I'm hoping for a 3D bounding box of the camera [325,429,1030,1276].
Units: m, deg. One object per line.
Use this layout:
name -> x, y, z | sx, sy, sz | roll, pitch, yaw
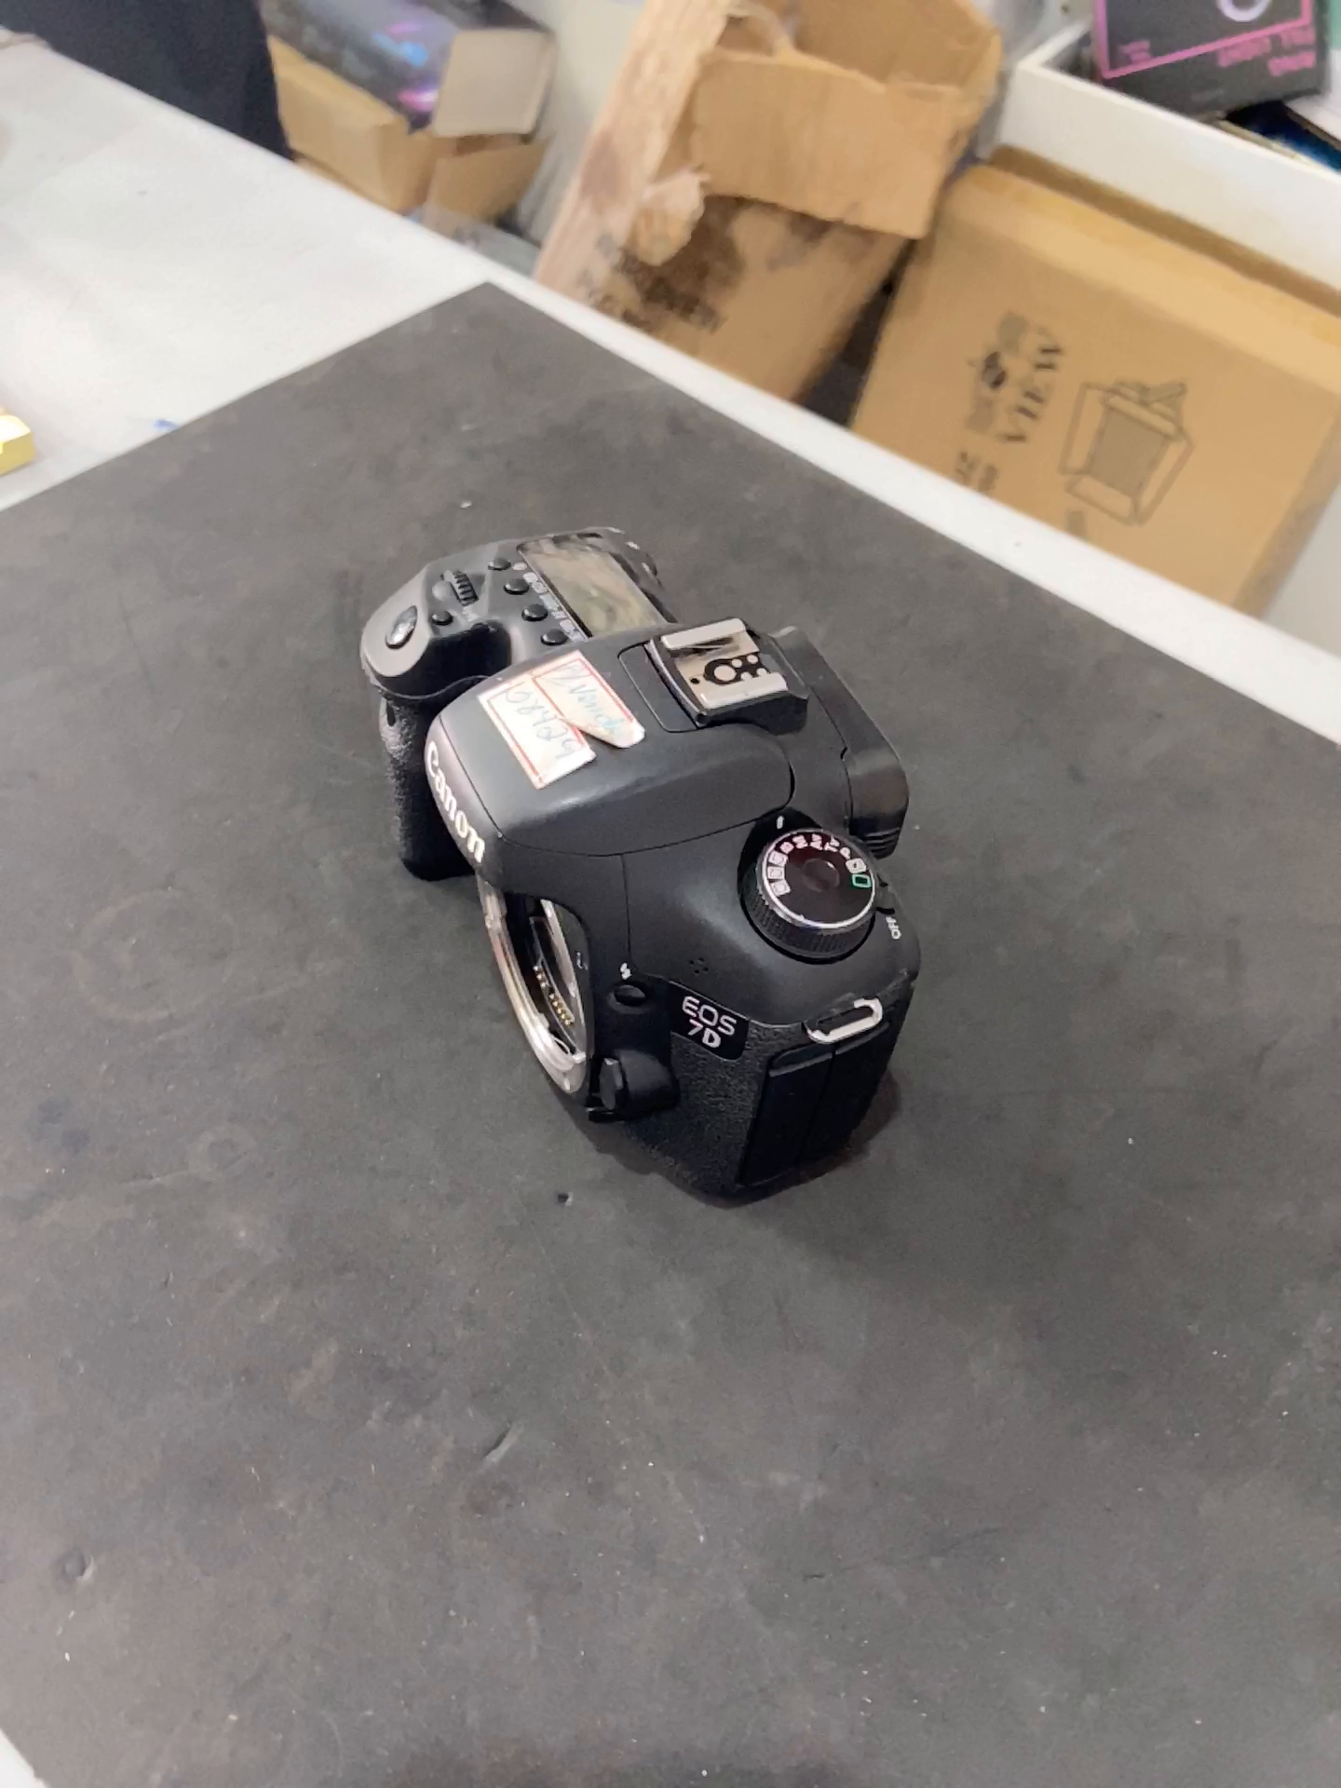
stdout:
camera -> -0.009, -0.015, 0.322 | 0.083, 0.101, 0.152 | -20, 55, -21
